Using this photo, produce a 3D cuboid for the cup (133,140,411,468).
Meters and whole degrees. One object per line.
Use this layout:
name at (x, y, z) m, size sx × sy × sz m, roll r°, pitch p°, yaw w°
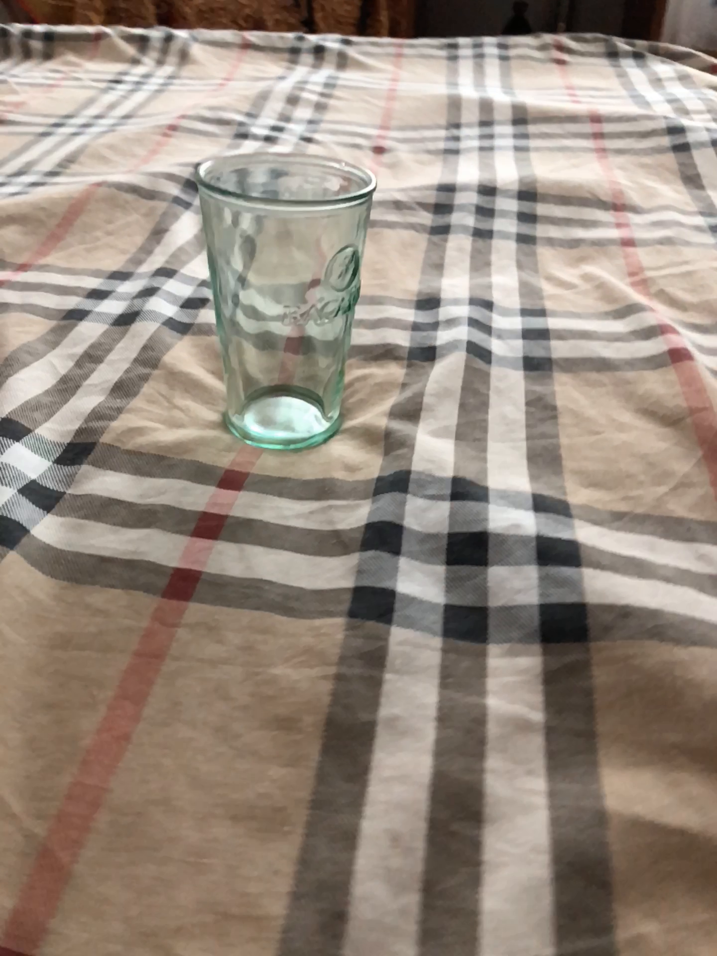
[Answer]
cup at (-0.037, -0.084, 0.366) m, size 0.085 × 0.112 × 0.082 m, roll 0°, pitch 34°, yaw 0°
